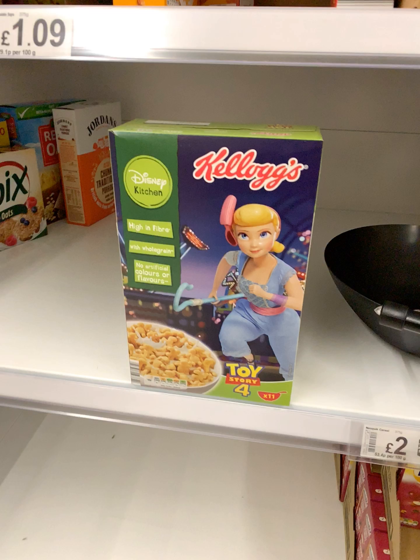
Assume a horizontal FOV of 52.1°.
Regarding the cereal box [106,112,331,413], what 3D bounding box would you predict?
[{"bbox_3d":[0.008,-0.012,0.461,0.190,0.297,0.081,6,28,9],"label":"cereal box"}]
